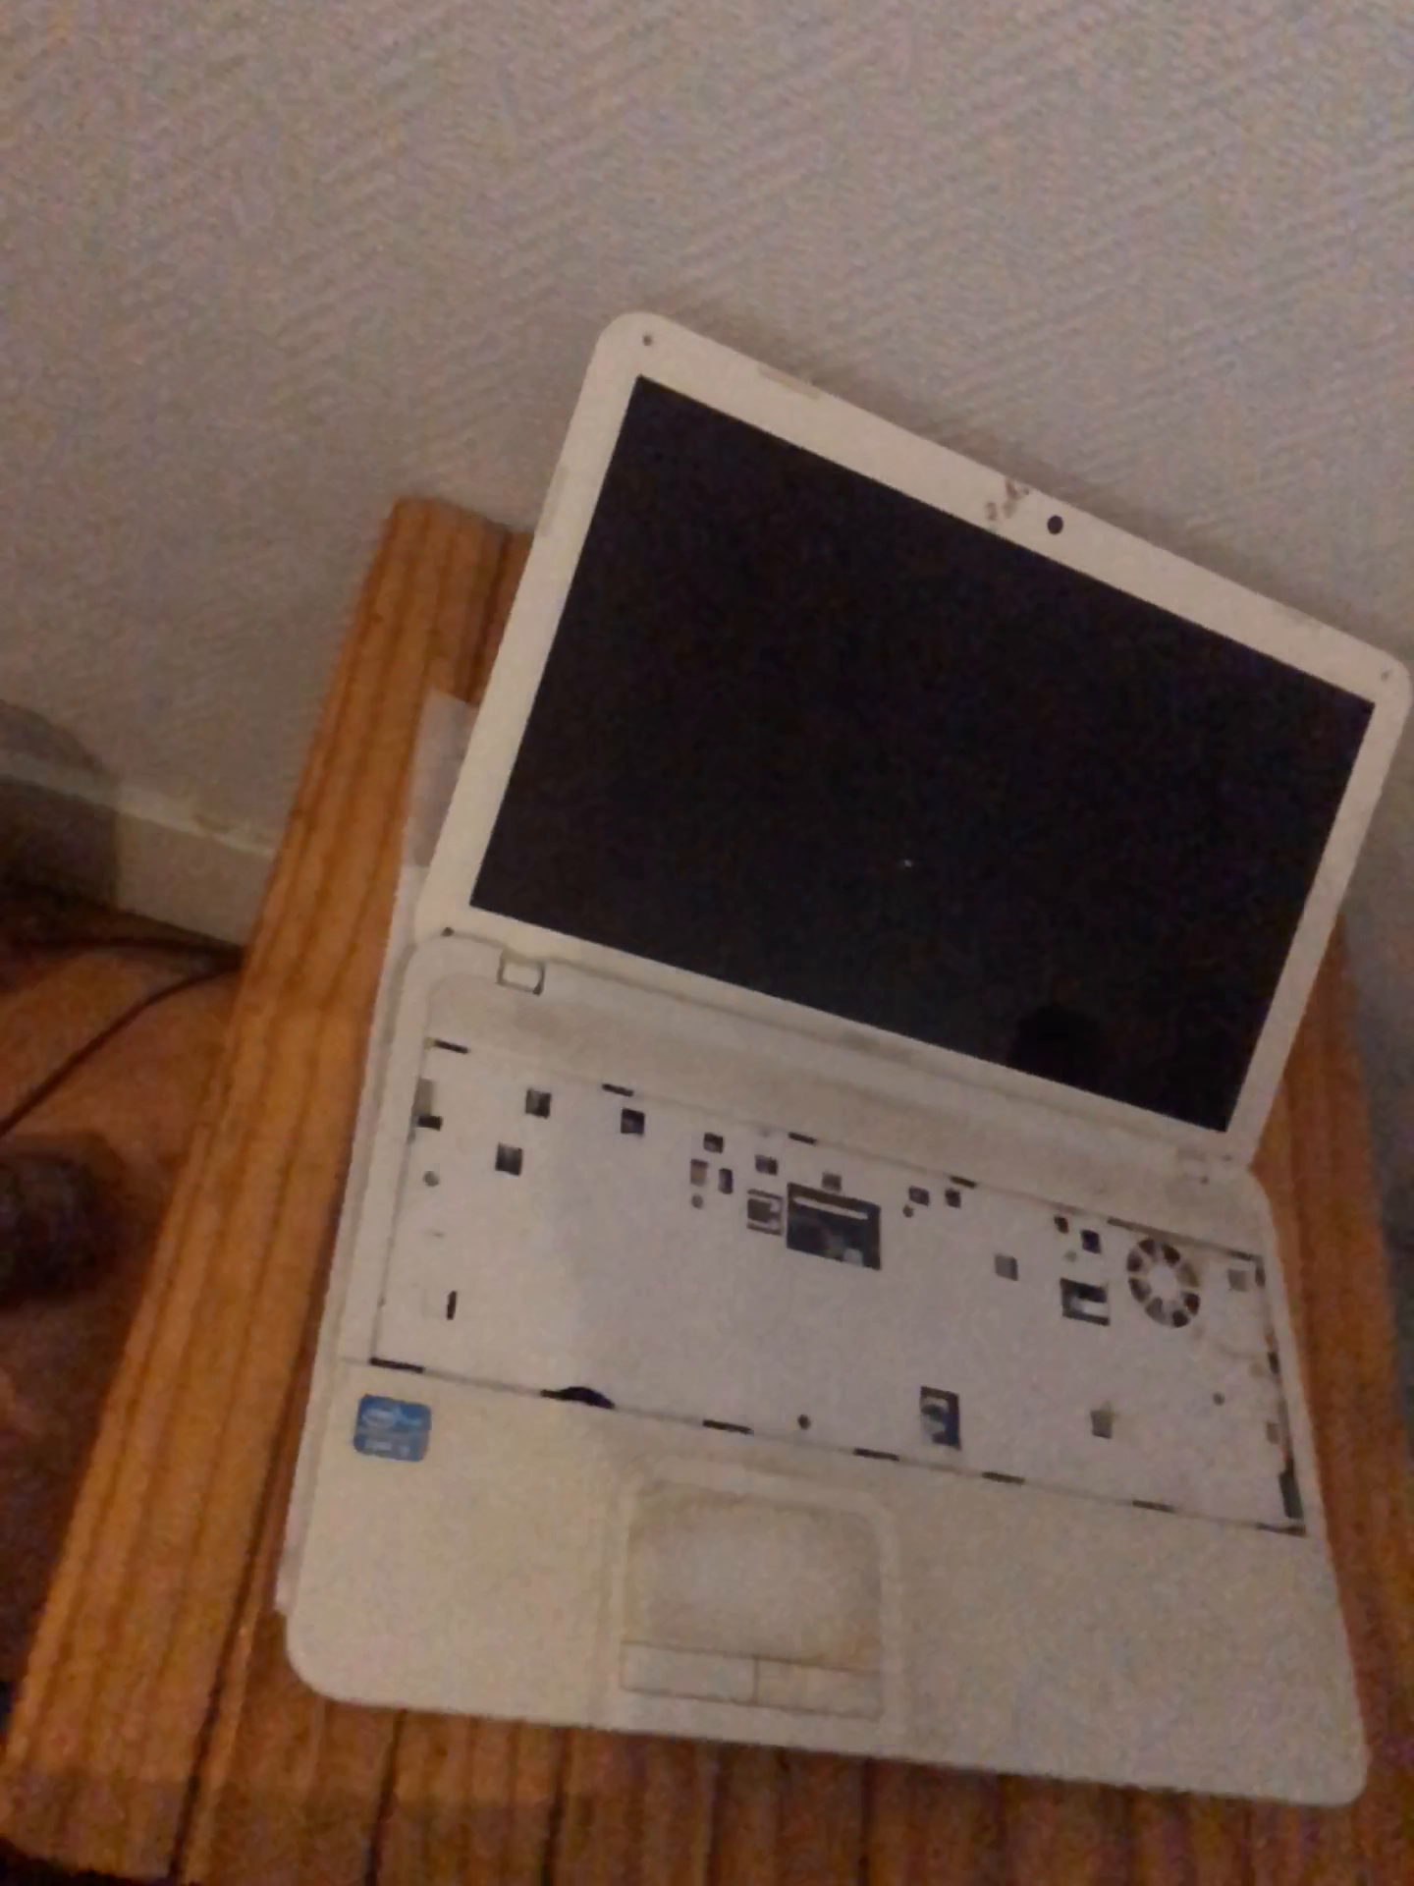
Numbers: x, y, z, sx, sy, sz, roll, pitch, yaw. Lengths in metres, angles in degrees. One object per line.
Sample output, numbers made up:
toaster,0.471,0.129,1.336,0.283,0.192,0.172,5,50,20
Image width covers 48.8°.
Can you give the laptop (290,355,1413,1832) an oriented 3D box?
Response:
laptop,0.099,0.045,0.538,0.372,0.118,0.419,18,54,-19
